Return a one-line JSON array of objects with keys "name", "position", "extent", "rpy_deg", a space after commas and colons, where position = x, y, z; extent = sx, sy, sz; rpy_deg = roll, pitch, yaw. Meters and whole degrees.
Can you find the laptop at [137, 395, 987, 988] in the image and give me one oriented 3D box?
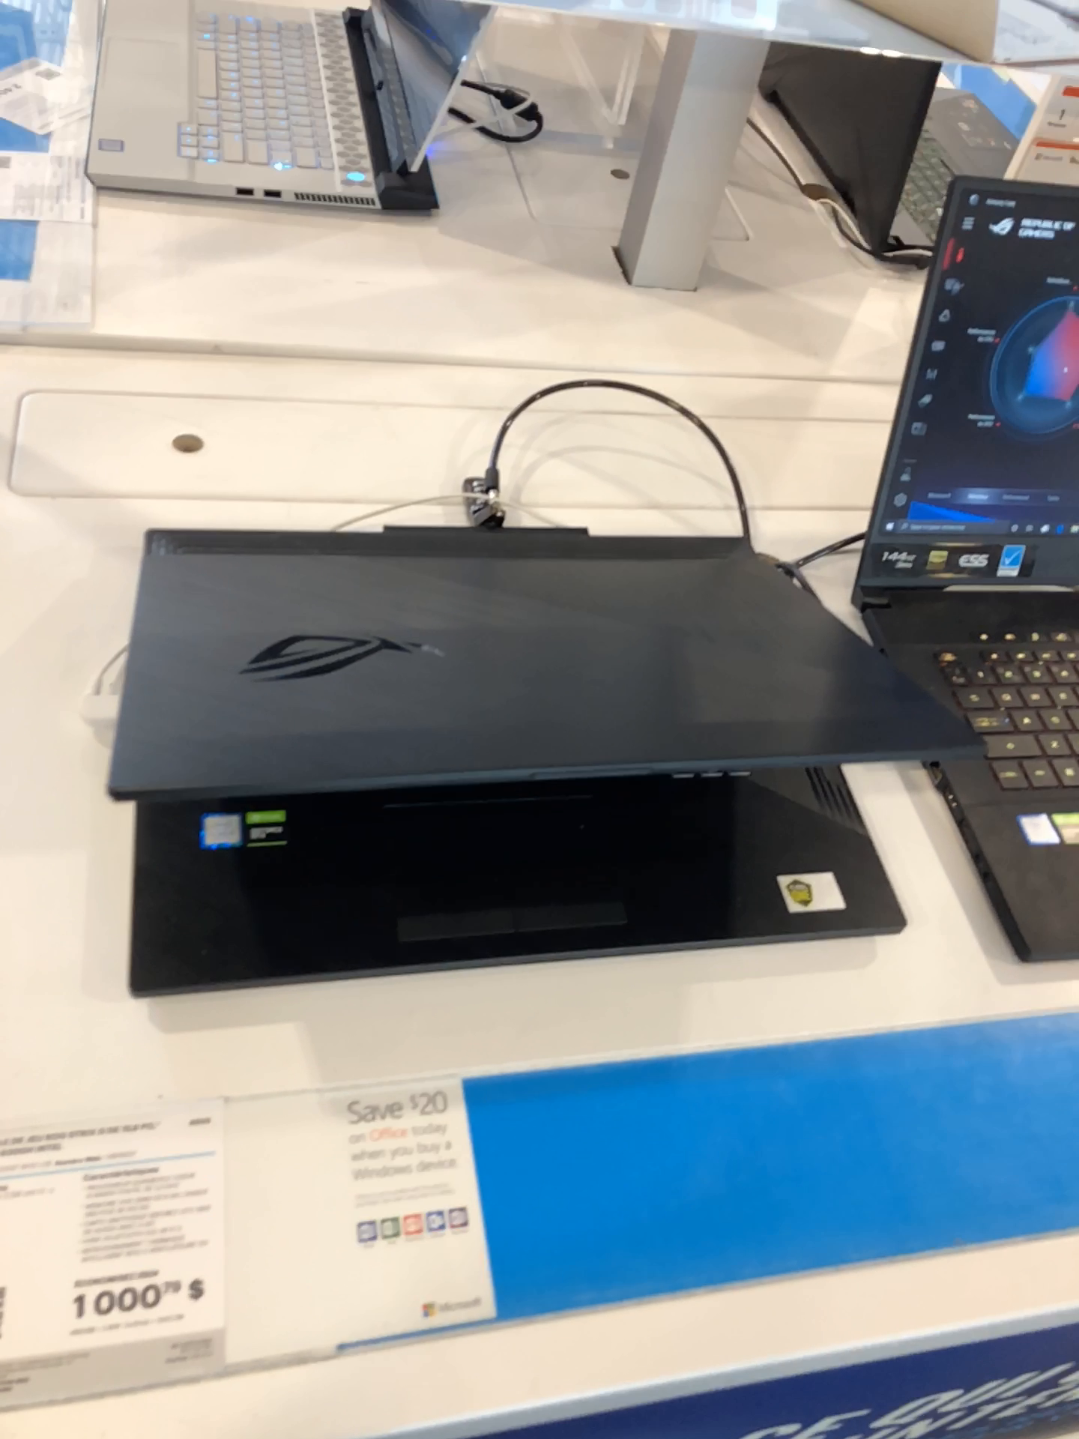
[{"name": "laptop", "position": [-0.007, -0.031, 0.562], "extent": [0.331, 0.097, 0.263], "rpy_deg": [-2, 51, -13]}]
